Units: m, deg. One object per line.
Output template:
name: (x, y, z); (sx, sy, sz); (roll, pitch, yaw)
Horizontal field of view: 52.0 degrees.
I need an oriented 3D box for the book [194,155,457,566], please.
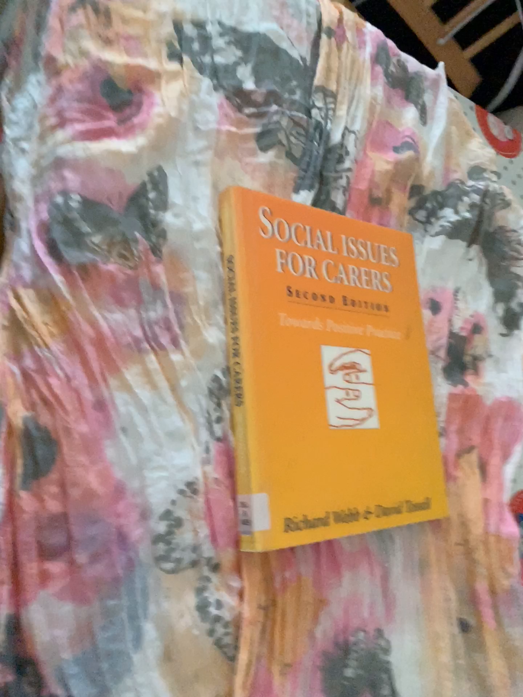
book: (0.053, 0.007, 0.417); (0.201, 0.040, 0.270); (4, 75, -34)
